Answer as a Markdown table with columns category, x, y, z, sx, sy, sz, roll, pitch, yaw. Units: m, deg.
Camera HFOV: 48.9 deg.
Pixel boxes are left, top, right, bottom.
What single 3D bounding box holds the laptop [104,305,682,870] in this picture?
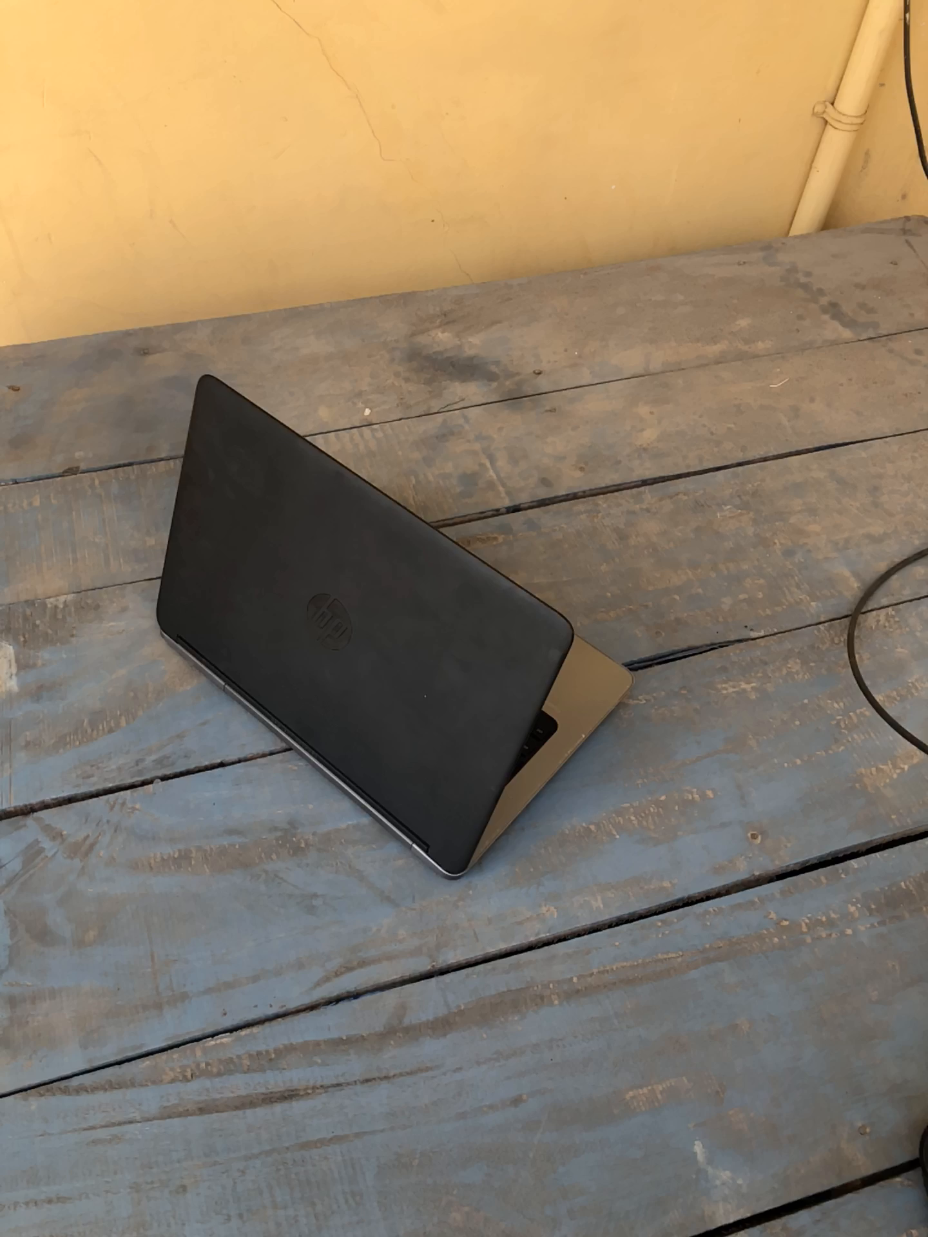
| category | x | y | z | sx | sy | sz | roll | pitch | yaw |
| --- | --- | --- | --- | --- | --- | --- | --- | --- | --- |
| laptop | -0.052 | -0.031 | 0.742 | 0.317 | 0.196 | 0.210 | 35 | 59 | 22 |
